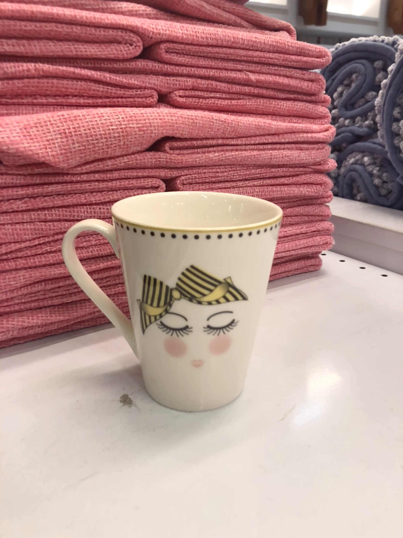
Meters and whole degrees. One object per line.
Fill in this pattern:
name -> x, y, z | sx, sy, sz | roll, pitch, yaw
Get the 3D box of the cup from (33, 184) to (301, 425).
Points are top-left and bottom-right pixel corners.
cup -> -0.013, 0.012, 0.242 | 0.110, 0.099, 0.091 | 0, 20, 1
